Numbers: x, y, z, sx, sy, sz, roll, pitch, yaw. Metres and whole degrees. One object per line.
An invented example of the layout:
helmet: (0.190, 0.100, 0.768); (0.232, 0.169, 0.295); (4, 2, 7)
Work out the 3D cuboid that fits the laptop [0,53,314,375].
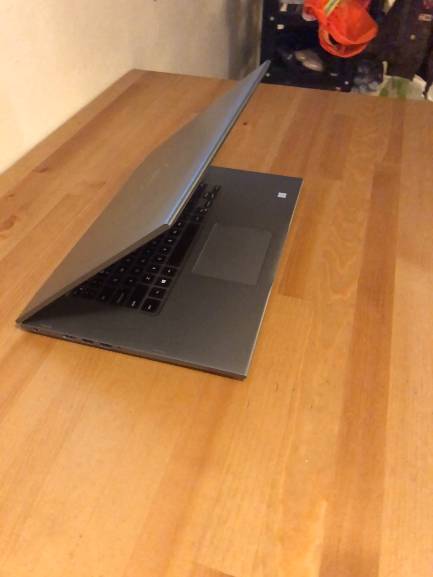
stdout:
laptop: (-0.043, -0.123, 0.573); (0.246, 0.165, 0.377); (11, 45, 12)
